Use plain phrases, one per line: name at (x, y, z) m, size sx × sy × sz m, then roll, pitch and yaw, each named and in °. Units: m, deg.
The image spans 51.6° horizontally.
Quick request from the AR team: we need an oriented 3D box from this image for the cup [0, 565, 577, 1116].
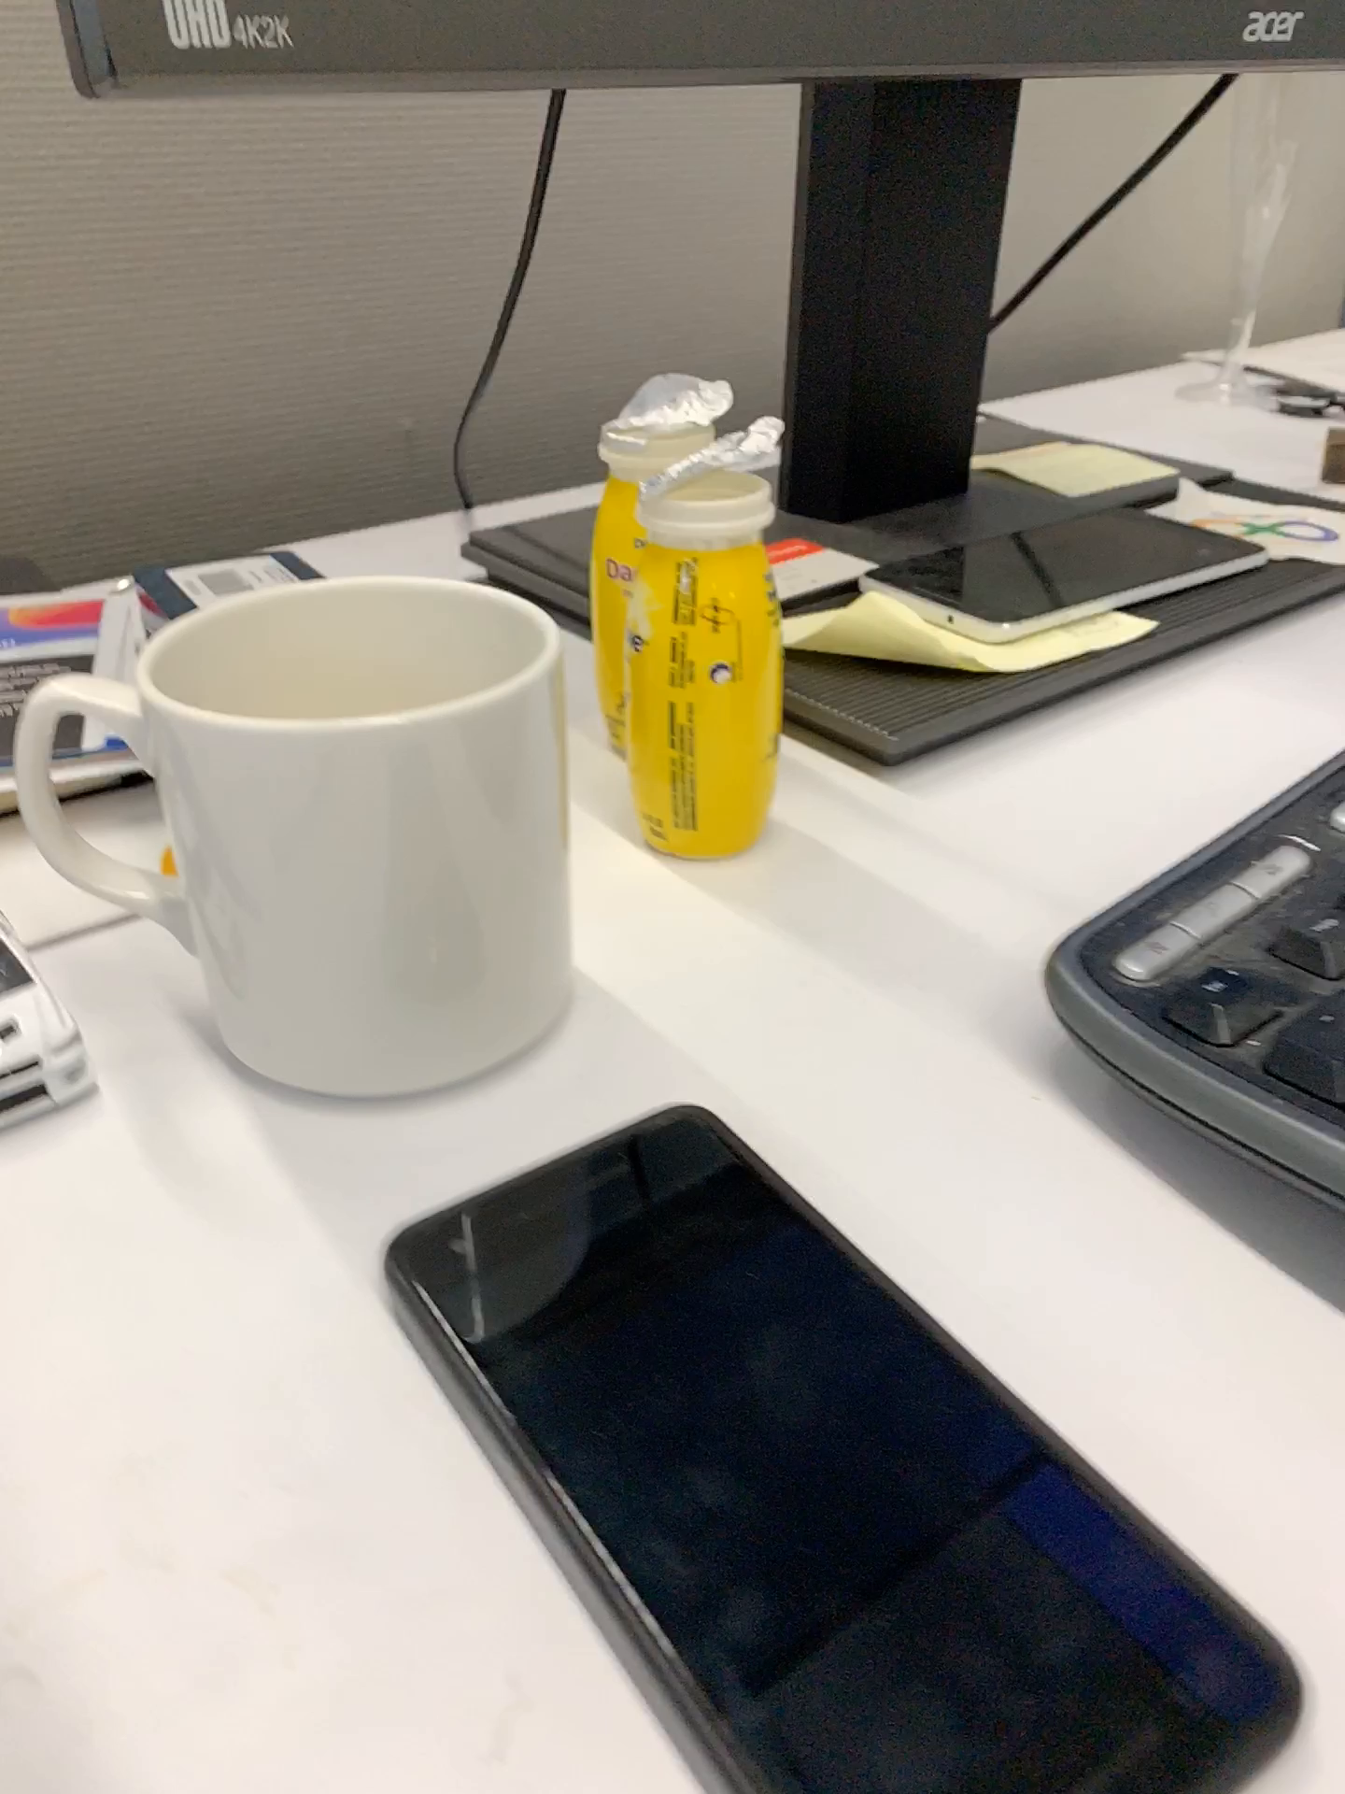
cup at (-0.088, -0.016, 0.287) m, size 0.120 × 0.080 × 0.070 m, roll 6°, pitch 30°, yaw 10°
